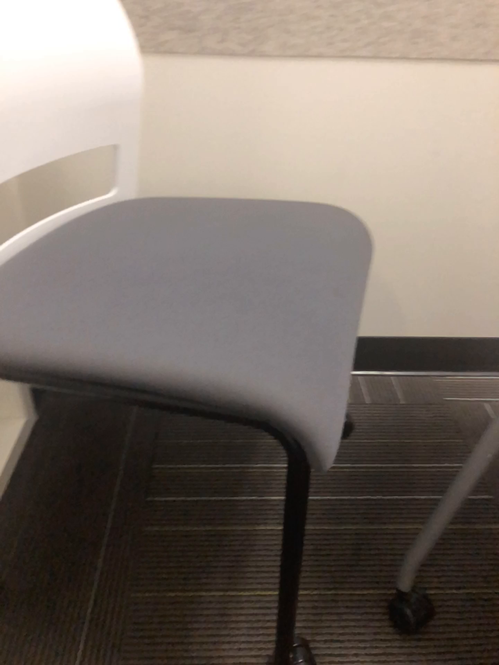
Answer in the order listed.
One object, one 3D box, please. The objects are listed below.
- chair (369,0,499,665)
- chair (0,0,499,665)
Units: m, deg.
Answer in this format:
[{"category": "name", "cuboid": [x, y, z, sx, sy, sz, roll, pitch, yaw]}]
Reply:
[{"category": "chair", "cuboid": [0.714, 0.074, 0.787, 0.651, 0.961, 0.705, 25, 39, 26]}, {"category": "chair", "cuboid": [-0.083, -0.053, 0.872, 0.650, 0.932, 0.706, 12, 34, 10]}]
